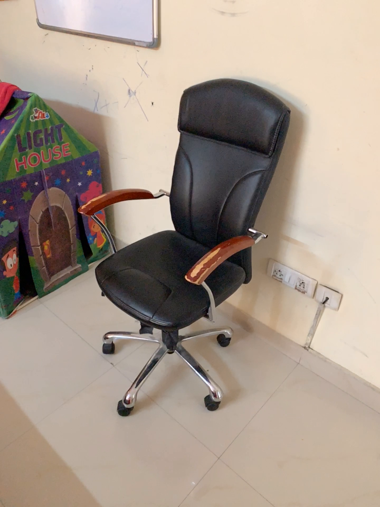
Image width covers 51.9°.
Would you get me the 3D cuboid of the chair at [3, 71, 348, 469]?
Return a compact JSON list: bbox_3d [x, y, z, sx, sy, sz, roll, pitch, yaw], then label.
[{"bbox_3d":[-0.046,-0.005,1.460,0.703,1.081,0.753,29,42,34],"label":"chair"}]
